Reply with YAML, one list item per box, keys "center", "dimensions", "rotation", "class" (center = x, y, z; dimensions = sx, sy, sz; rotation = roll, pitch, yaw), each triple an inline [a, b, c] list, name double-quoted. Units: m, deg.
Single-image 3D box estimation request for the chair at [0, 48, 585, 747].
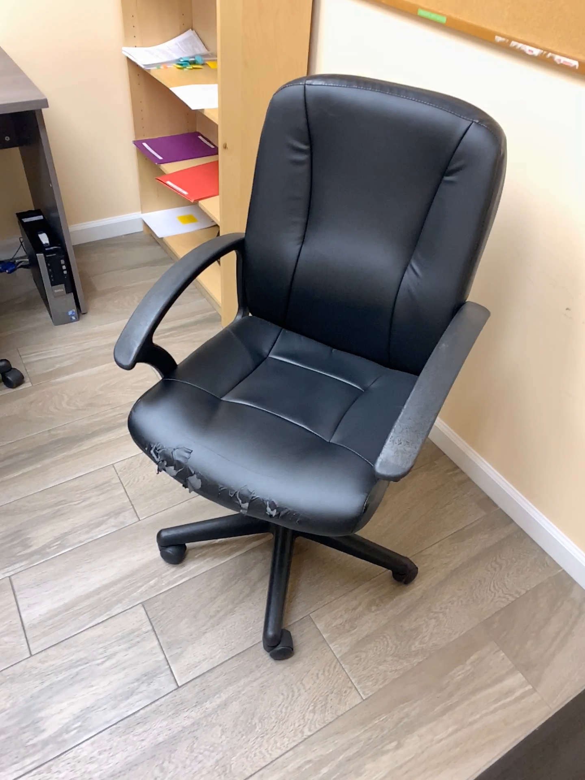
- center: [0.050, 0.018, 1.143]
  dimensions: [0.683, 0.987, 0.647]
  rotation: [22, 45, 18]
  class: "chair"
